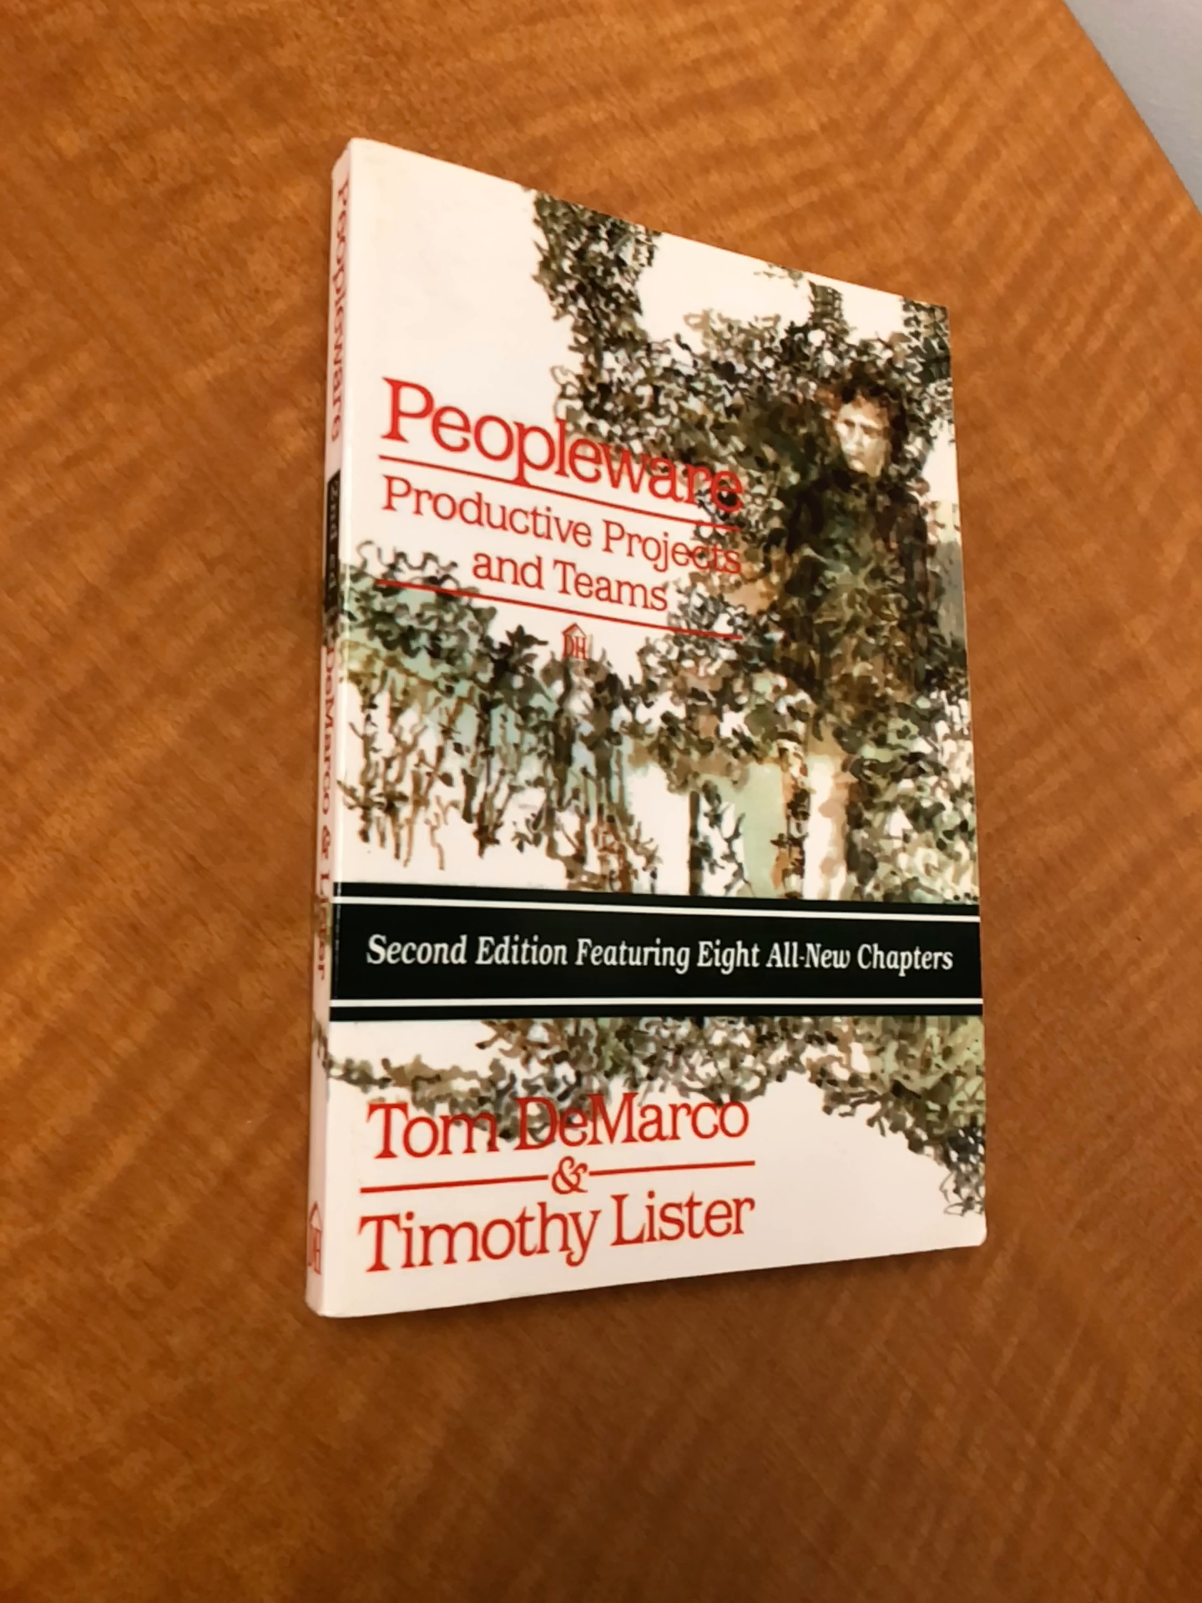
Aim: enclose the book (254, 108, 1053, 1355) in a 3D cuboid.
[{"bbox_3d":[0.014,-0.012,0.289,0.160,0.050,0.220,4,80,-28],"label":"book"}]
